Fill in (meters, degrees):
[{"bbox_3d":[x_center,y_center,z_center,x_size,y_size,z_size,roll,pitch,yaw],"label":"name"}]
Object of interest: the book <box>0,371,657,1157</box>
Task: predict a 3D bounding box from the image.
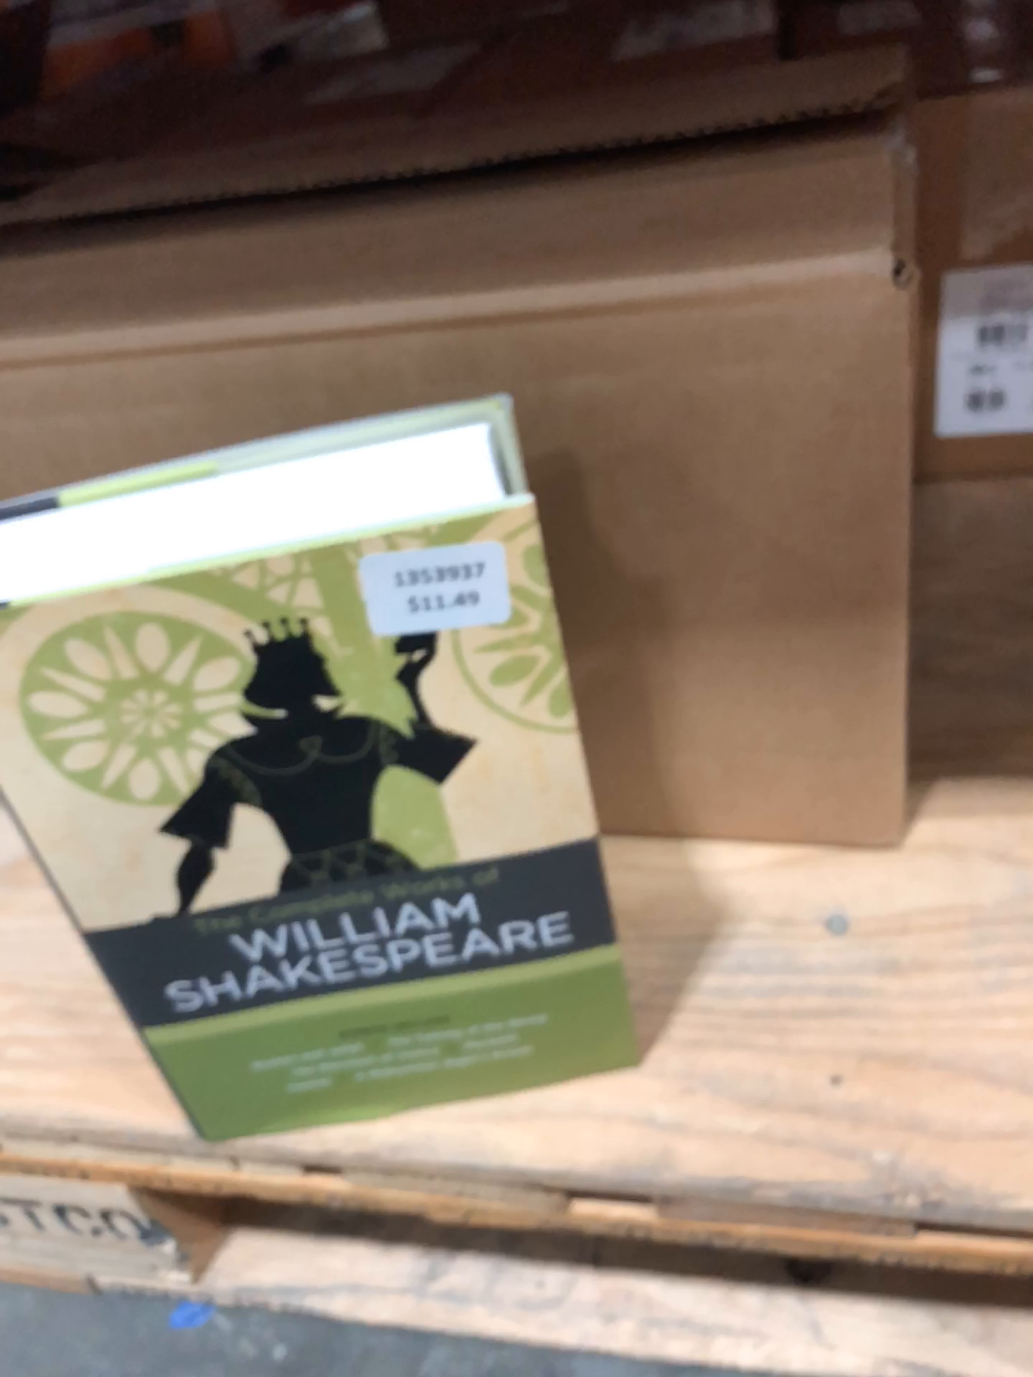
[{"bbox_3d":[-0.062,0.040,0.395,0.181,0.239,0.080,-11,36,3],"label":"book"}]
